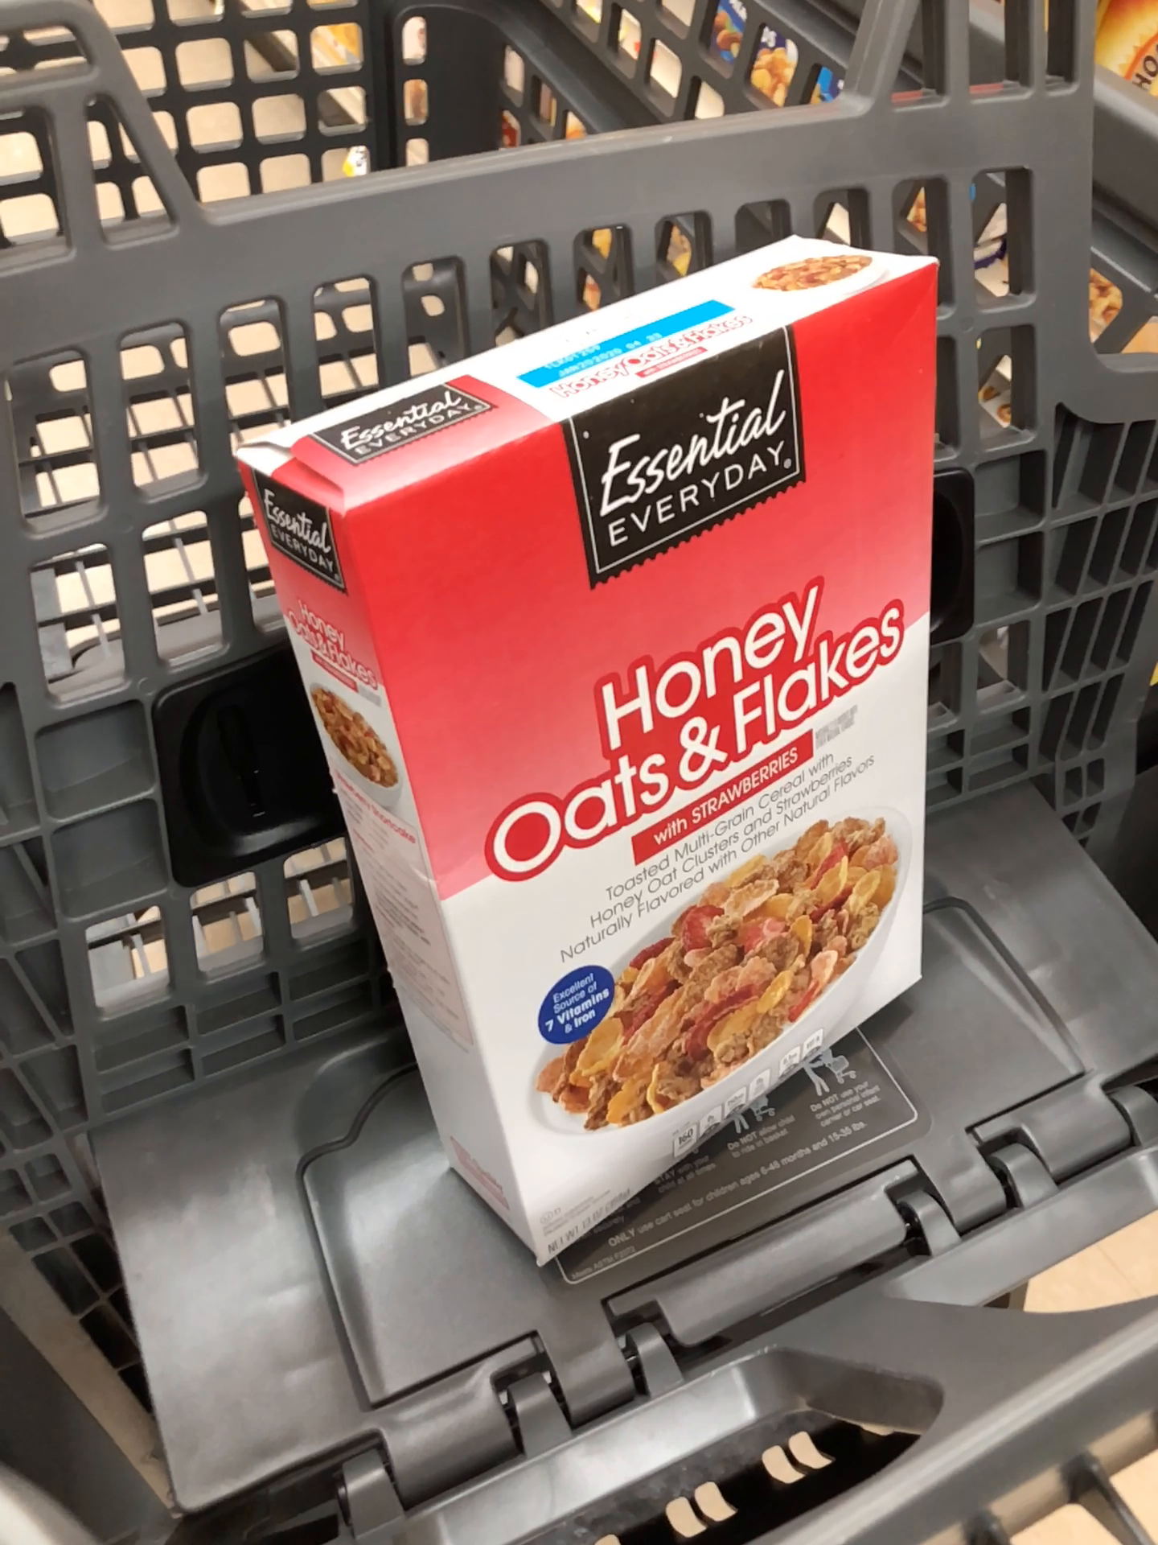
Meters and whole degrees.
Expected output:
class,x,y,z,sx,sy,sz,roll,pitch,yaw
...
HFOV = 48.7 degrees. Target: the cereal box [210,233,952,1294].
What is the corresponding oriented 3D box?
class,x,y,z,sx,sy,sz,roll,pitch,yaw
cereal box,0.024,0.003,0.378,0.180,0.260,0.060,-30,40,-27
